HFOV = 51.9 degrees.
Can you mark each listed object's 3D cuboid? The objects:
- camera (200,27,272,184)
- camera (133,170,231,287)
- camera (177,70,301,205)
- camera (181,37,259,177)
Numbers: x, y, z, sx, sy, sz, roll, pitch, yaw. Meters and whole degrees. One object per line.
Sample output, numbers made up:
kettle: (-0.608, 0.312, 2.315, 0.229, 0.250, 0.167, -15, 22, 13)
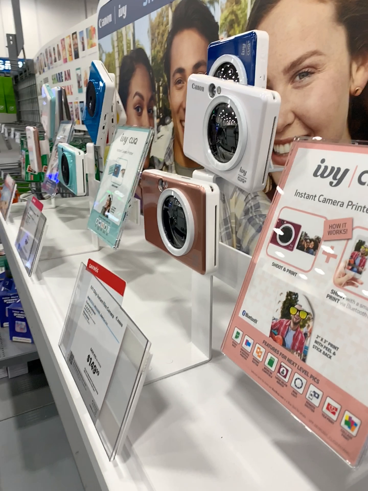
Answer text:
camera: (0.046, -0.133, 0.374, 0.030, 0.129, 0.080, -8, 19, -21)
camera: (-0.007, -0.023, 0.357, 0.030, 0.080, 0.120, -11, 22, -30)
camera: (0.040, -0.102, 0.343, 0.030, 0.089, 0.121, -11, 33, -30)
camera: (0.036, -0.148, 0.418, 0.030, 0.120, 0.080, -8, -10, -21)
